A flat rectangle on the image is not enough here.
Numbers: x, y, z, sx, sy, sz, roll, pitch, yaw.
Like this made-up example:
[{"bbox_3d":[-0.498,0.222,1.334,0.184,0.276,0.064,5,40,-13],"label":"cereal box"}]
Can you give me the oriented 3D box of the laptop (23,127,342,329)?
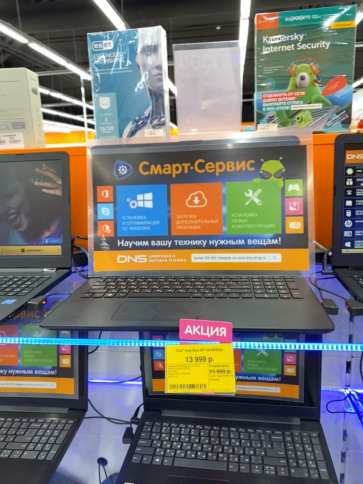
[{"bbox_3d":[0.012,-0.037,0.582,0.377,0.235,0.262,-1,12,9],"label":"laptop"}]
